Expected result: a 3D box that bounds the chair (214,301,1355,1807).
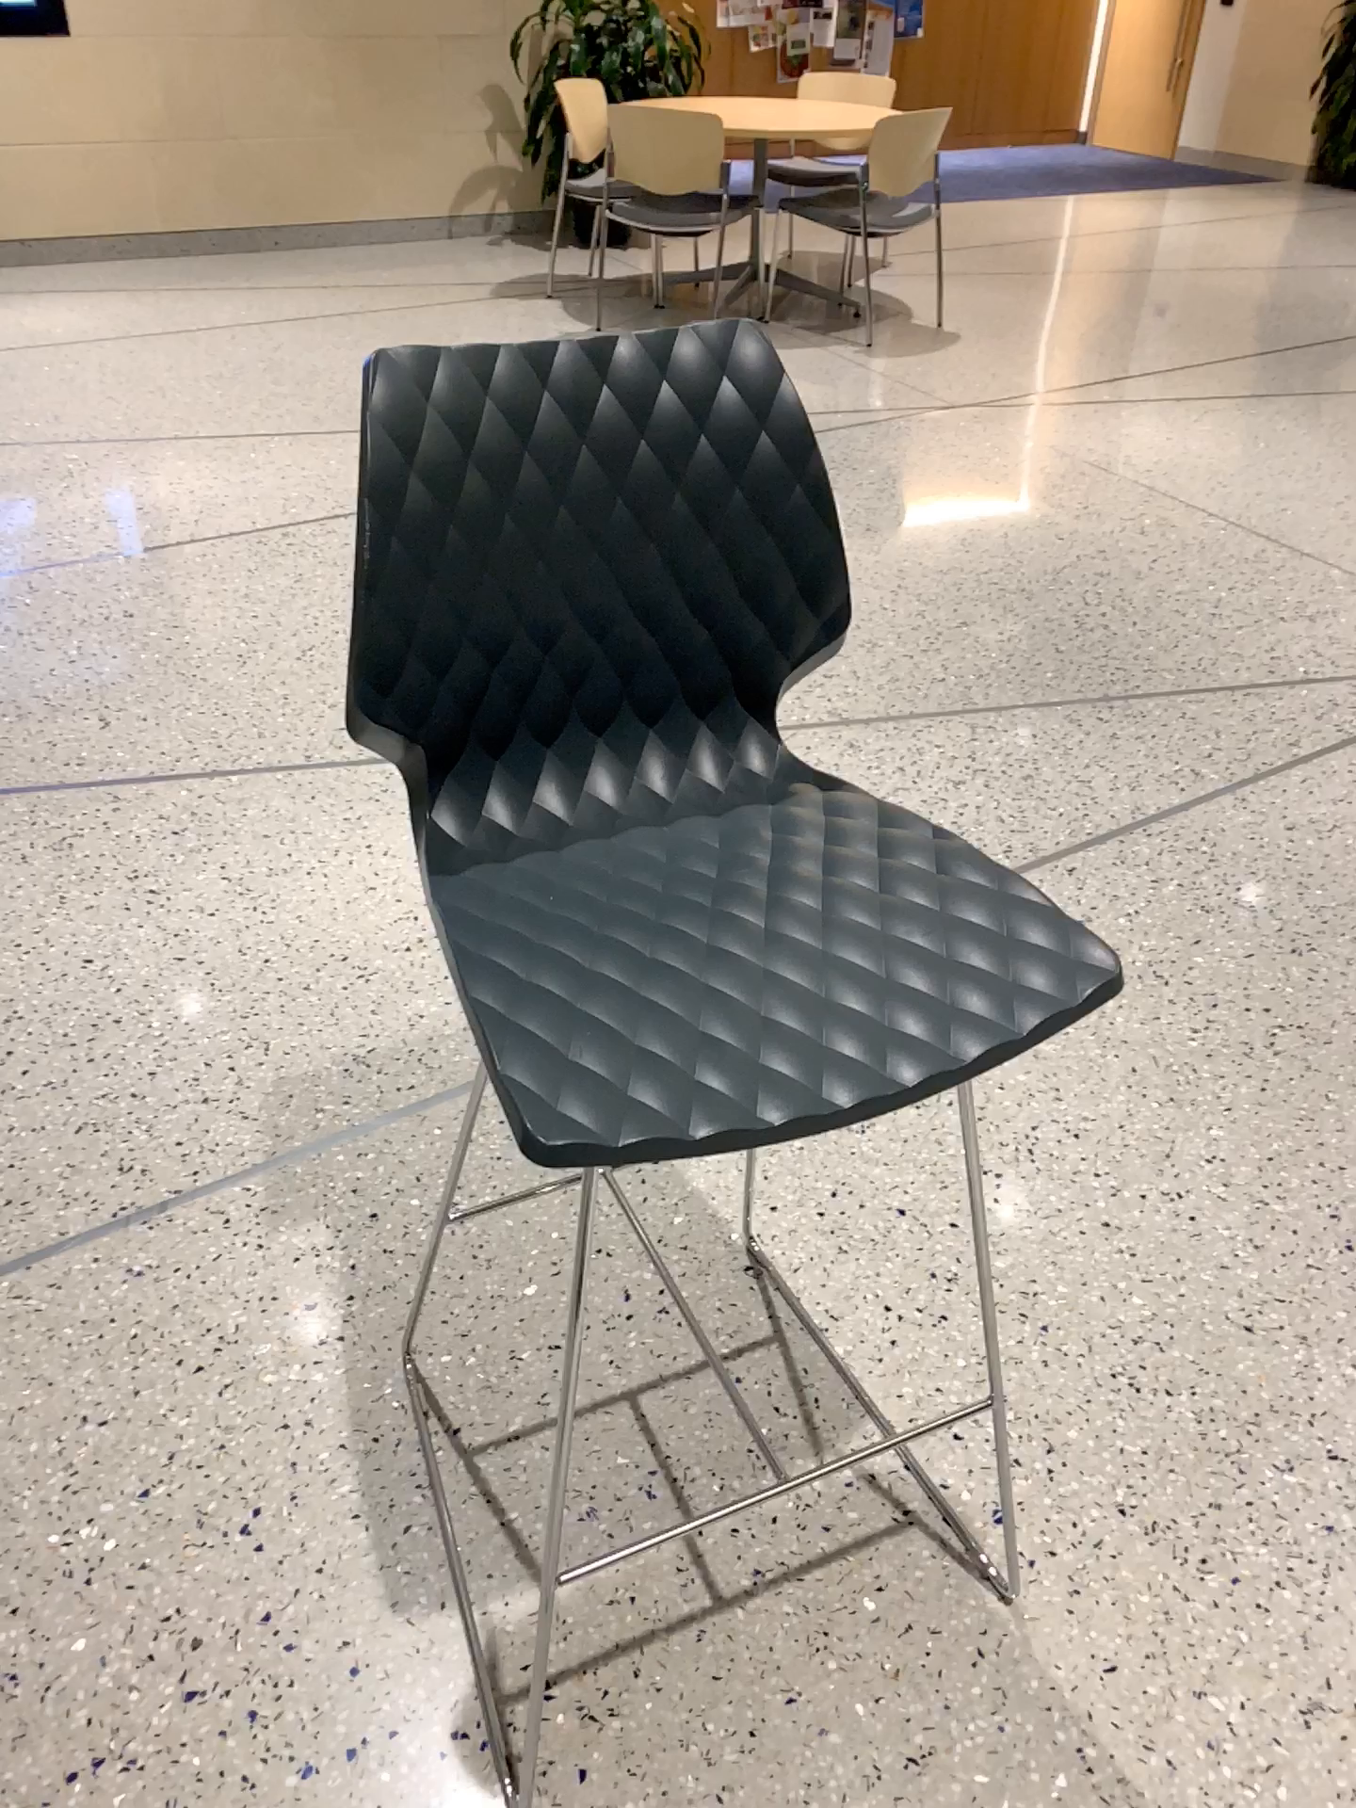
[{"bbox_3d":[0.028,0.132,1.082,0.535,0.995,0.535,-12,37,-19],"label":"chair"}]
